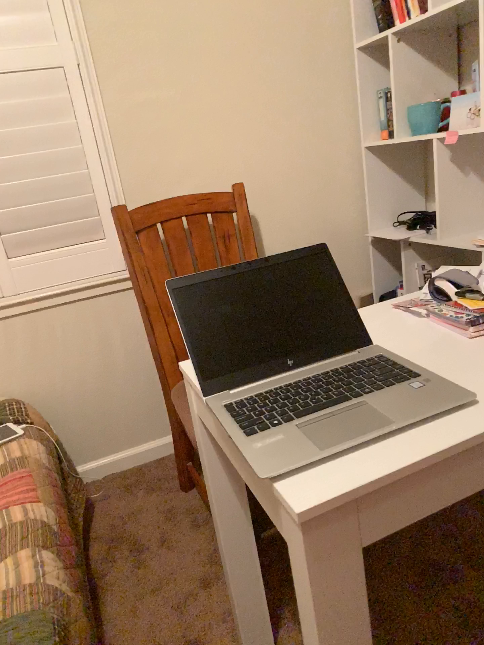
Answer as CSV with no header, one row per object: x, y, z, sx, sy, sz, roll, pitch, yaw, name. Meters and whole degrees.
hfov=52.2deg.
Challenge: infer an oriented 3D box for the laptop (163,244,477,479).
0.087,0.013,0.735,0.310,0.159,0.366,-15,19,-17,laptop
